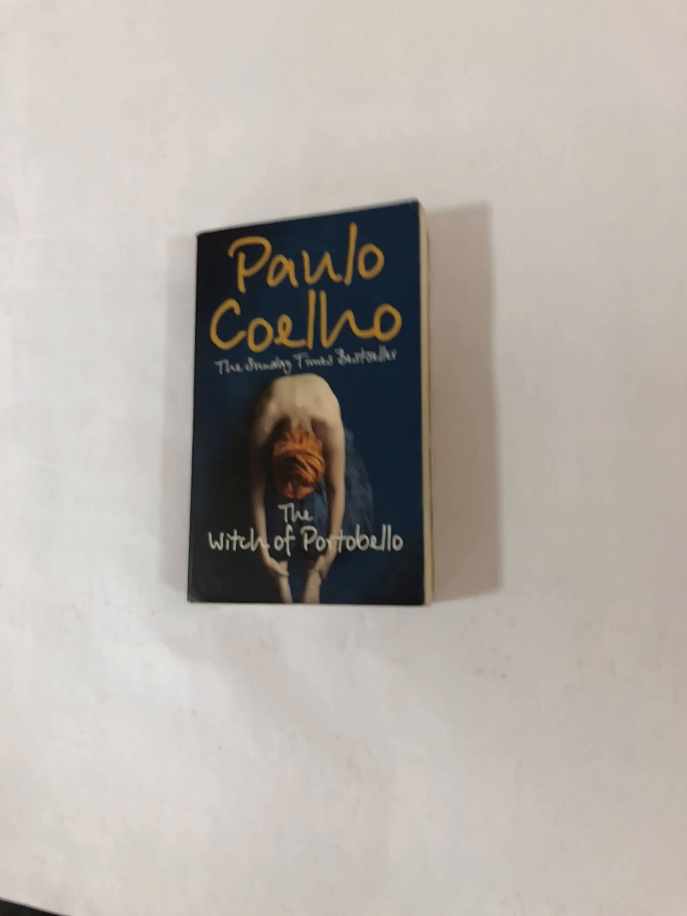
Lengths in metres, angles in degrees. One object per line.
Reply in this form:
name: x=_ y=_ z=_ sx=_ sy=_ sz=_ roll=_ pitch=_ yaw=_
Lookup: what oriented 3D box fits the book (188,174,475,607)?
book: x=-0.007 y=-0.026 z=0.344 sx=0.120 sy=0.030 sz=0.180 roll=-3 pitch=82 yaw=16
